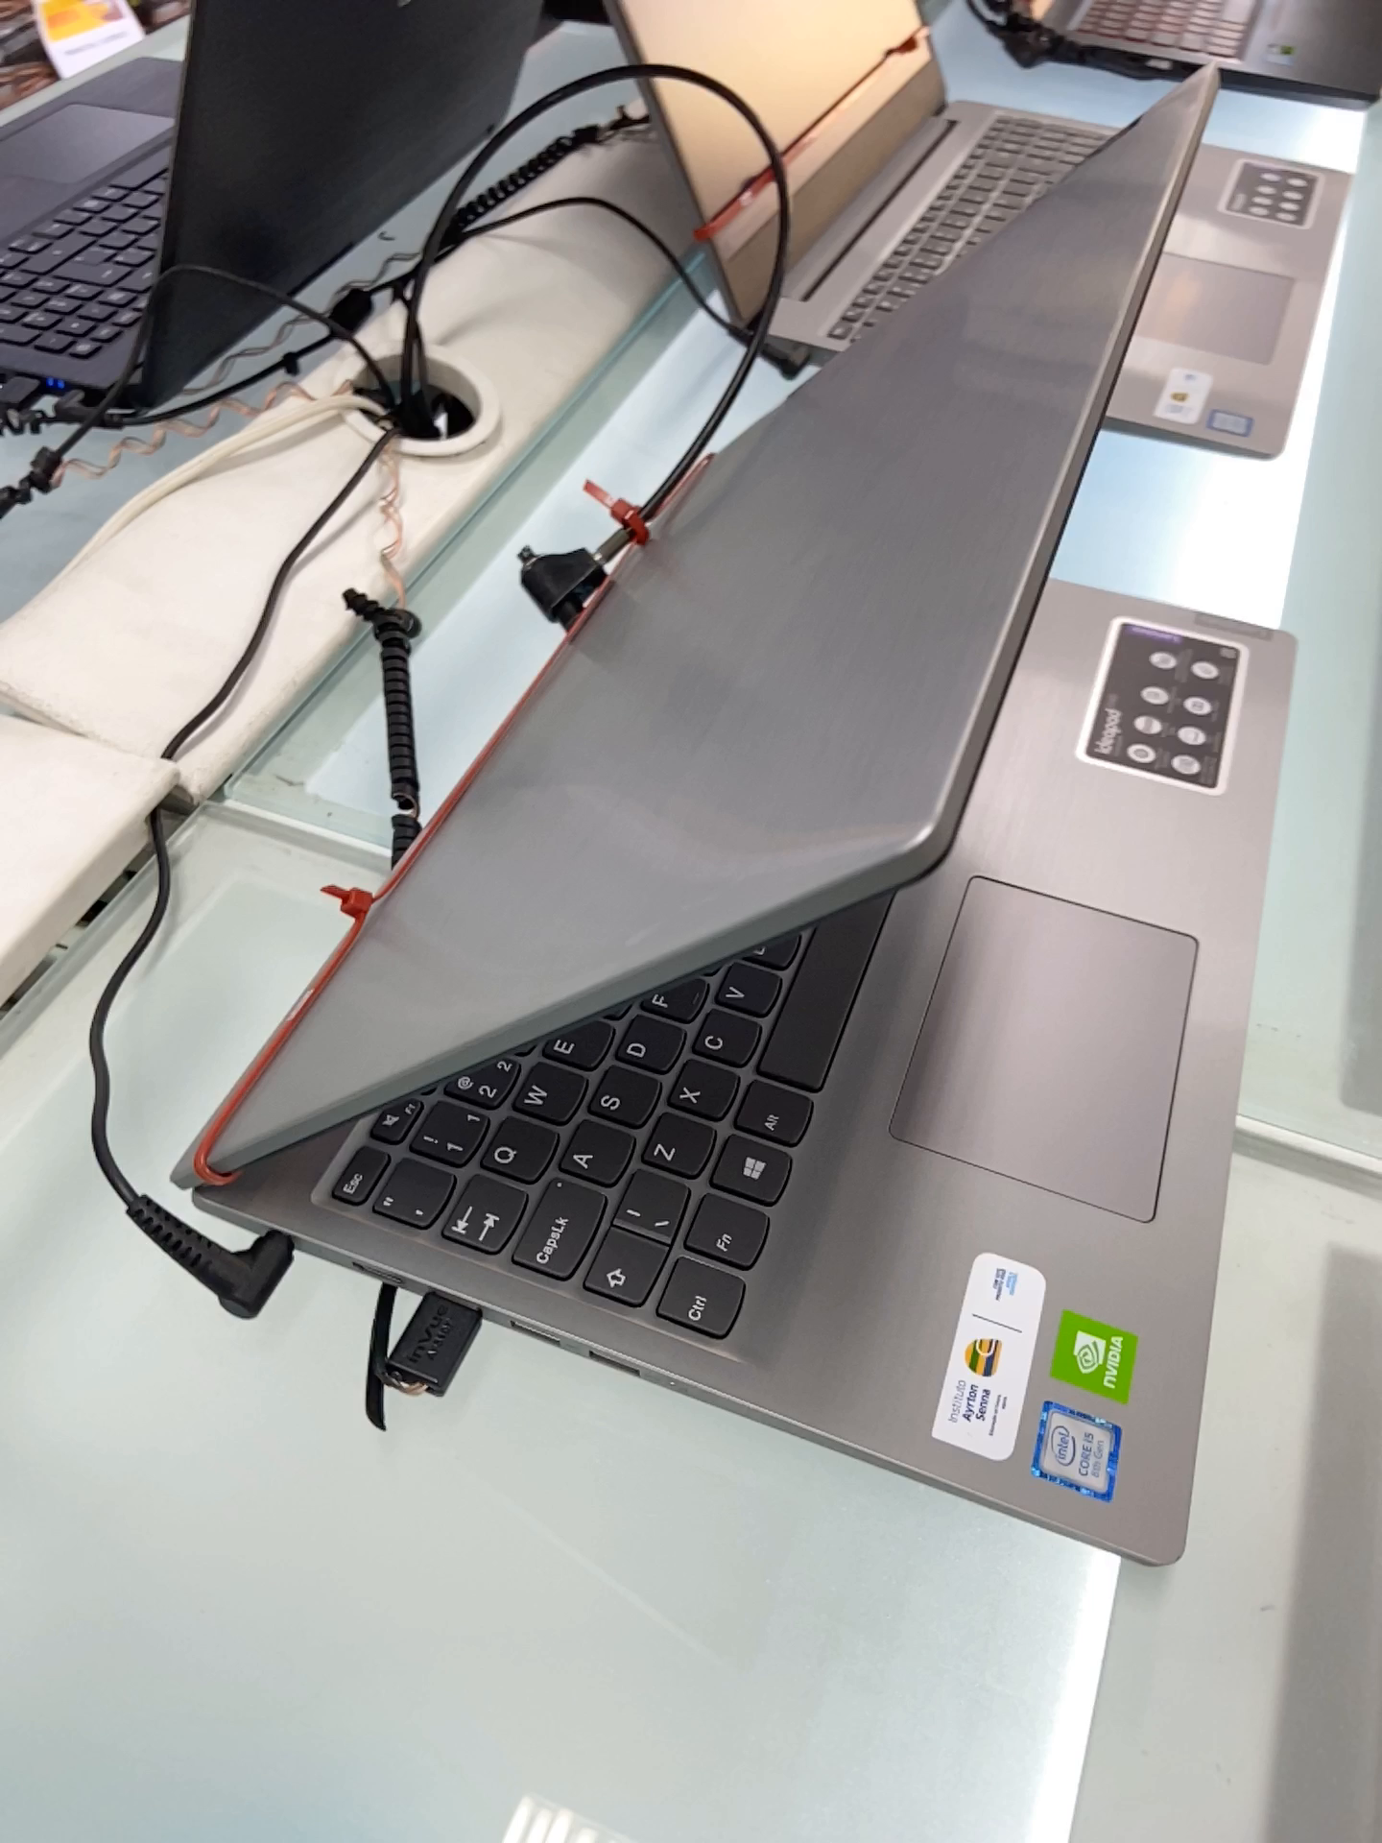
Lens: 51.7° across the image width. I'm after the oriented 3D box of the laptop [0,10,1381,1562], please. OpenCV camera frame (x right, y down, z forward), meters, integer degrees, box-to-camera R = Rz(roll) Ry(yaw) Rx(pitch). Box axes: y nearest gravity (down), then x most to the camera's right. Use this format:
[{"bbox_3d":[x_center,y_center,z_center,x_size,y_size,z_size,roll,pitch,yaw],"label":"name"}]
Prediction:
[{"bbox_3d":[0.055,-0.078,0.384,0.244,0.175,0.361,17,49,12],"label":"laptop"}]
